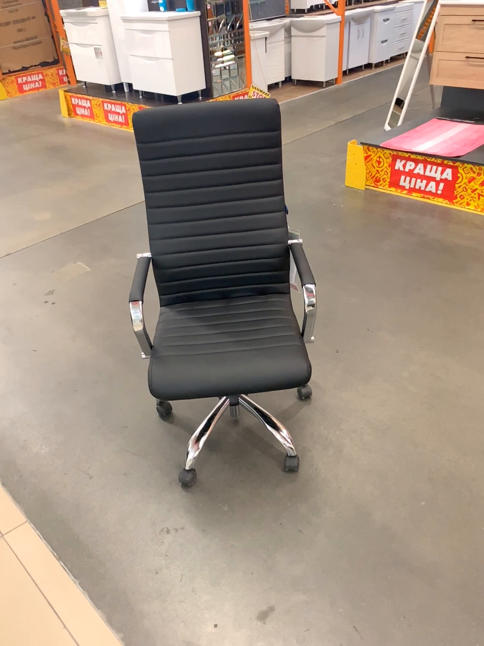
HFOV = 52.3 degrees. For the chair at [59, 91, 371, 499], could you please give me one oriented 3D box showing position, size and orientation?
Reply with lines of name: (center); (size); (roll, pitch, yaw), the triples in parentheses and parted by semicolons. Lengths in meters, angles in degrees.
chair: (-0.042, -0.082, 1.610); (0.650, 1.074, 0.684); (-5, 35, -1)
